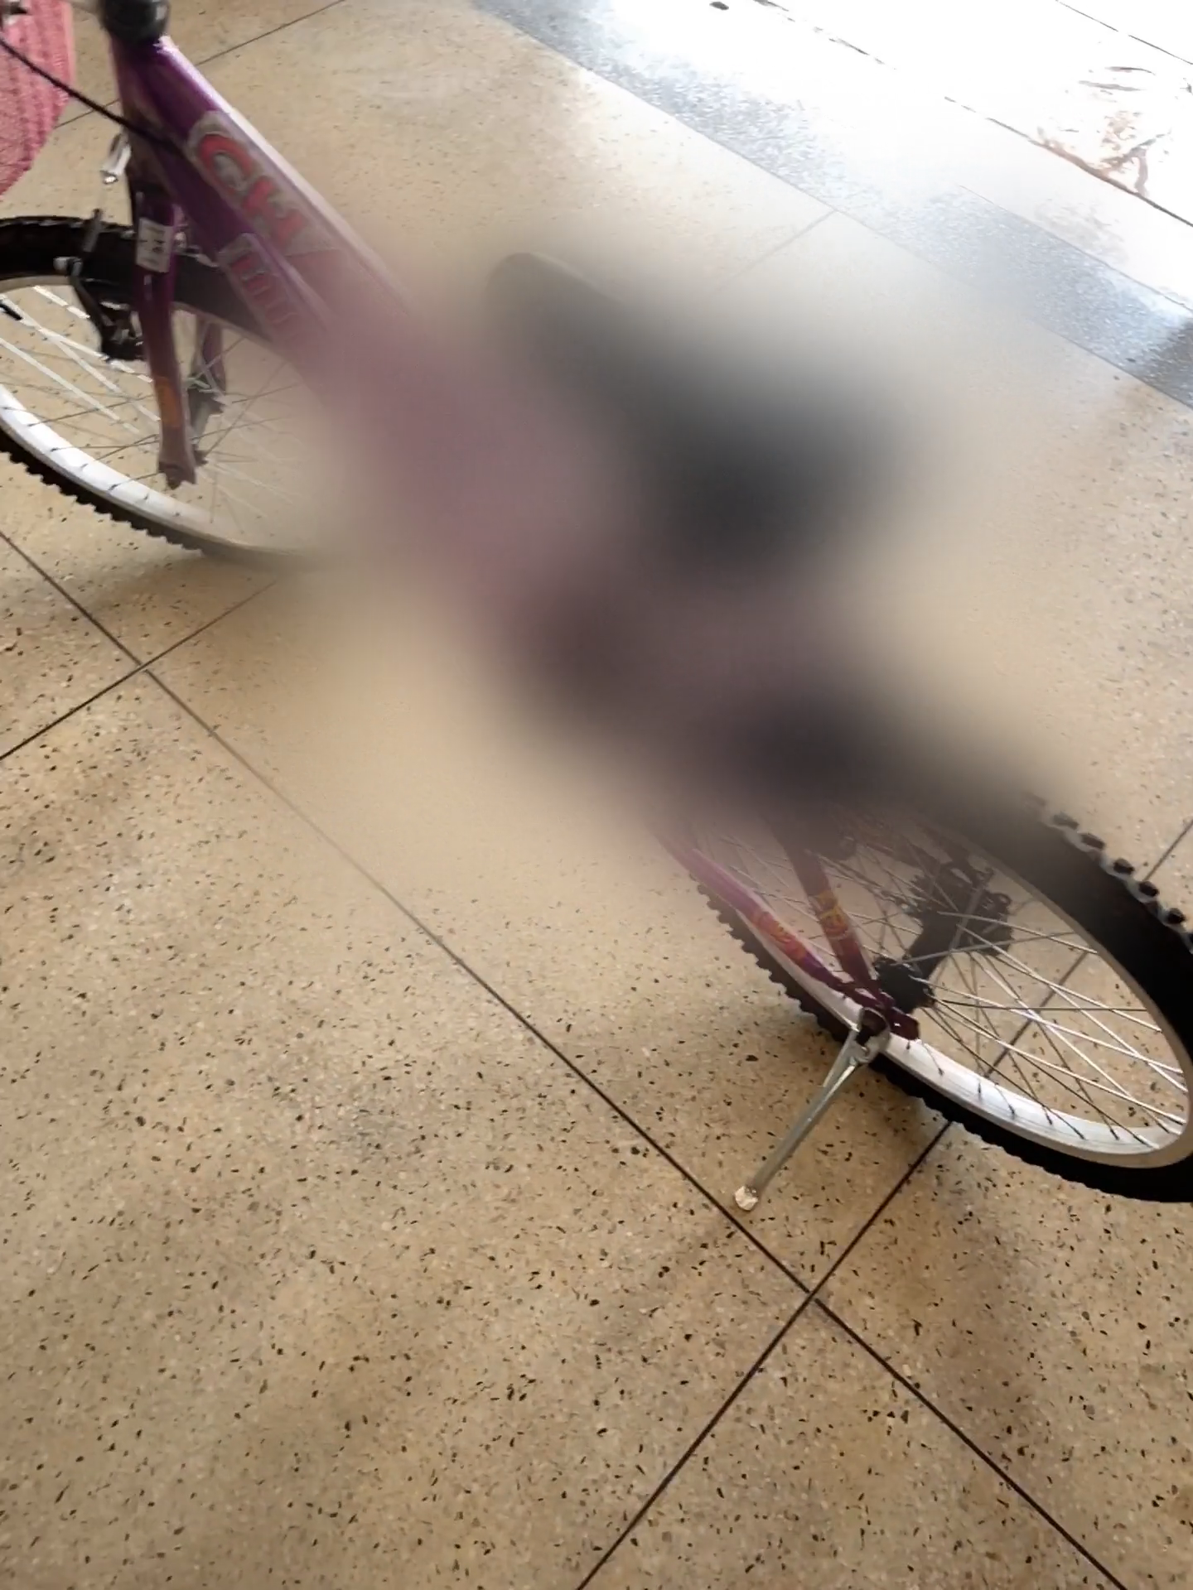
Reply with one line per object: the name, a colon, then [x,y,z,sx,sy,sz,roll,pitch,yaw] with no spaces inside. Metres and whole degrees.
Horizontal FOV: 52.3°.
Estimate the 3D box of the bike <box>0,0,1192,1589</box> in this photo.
bike: [-0.096,-0.150,0.824,1.262,0.935,0.617,32,62,17]
